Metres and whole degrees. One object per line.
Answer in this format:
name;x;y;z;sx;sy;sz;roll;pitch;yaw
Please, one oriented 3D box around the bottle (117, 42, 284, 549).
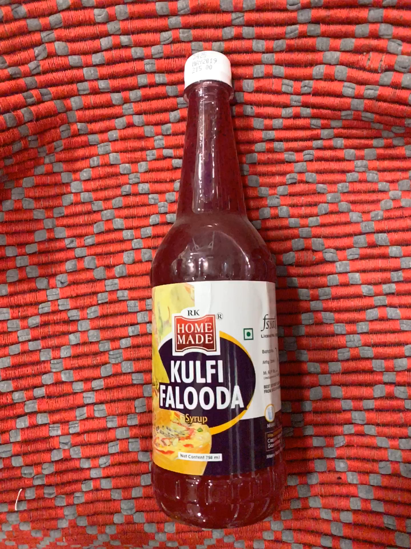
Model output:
bottle;-0.001;0.002;0.242;0.070;0.070;0.250;-2;76;5
